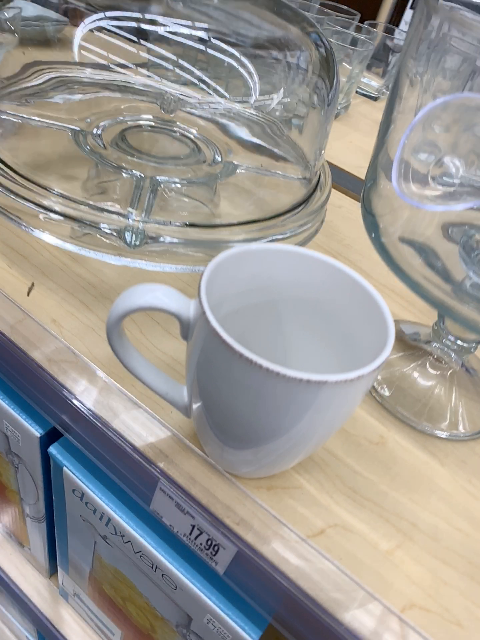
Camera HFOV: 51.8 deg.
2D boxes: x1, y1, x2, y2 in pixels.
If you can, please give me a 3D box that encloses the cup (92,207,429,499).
[{"bbox_3d":[0.001,0.020,0.253,0.130,0.094,0.096,8,45,-10],"label":"cup"}]
